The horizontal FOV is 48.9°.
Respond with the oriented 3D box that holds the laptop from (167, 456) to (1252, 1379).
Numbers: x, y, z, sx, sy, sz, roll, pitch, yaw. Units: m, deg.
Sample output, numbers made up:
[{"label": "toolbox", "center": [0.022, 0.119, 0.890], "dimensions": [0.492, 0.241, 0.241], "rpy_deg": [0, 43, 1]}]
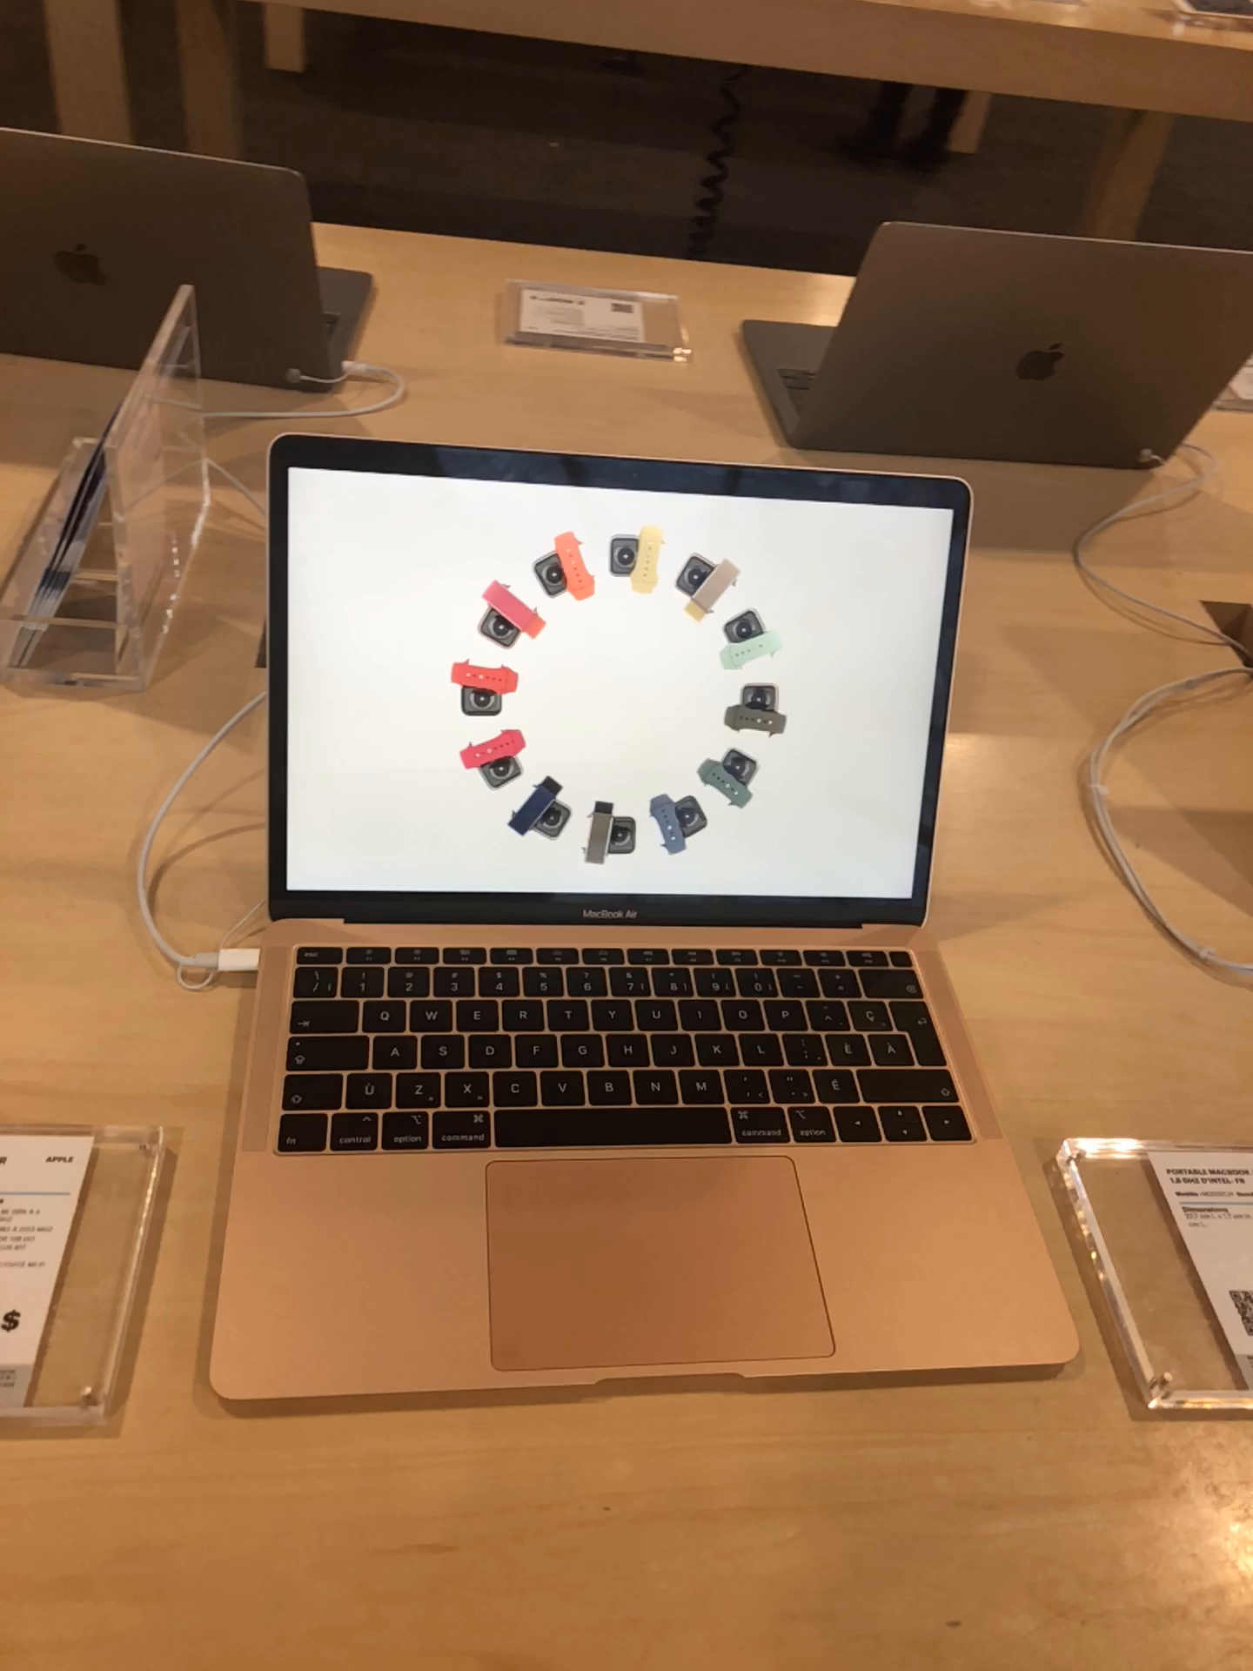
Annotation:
[{"label": "laptop", "center": [0.008, 0.016, 0.514], "dimensions": [0.289, 0.167, 0.299], "rpy_deg": [2, 41, -10]}]
